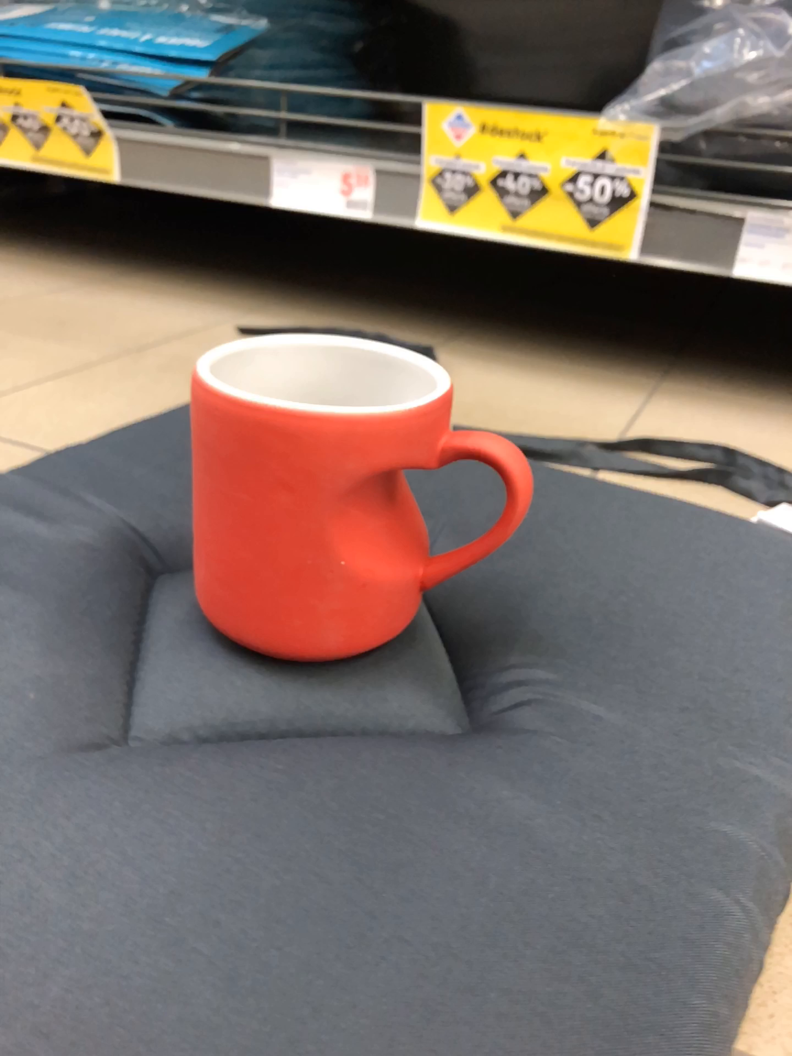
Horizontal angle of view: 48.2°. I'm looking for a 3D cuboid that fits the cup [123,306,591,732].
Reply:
[{"bbox_3d":[-0.010,-0.012,0.297,0.120,0.089,0.091,14,28,18],"label":"cup"}]
